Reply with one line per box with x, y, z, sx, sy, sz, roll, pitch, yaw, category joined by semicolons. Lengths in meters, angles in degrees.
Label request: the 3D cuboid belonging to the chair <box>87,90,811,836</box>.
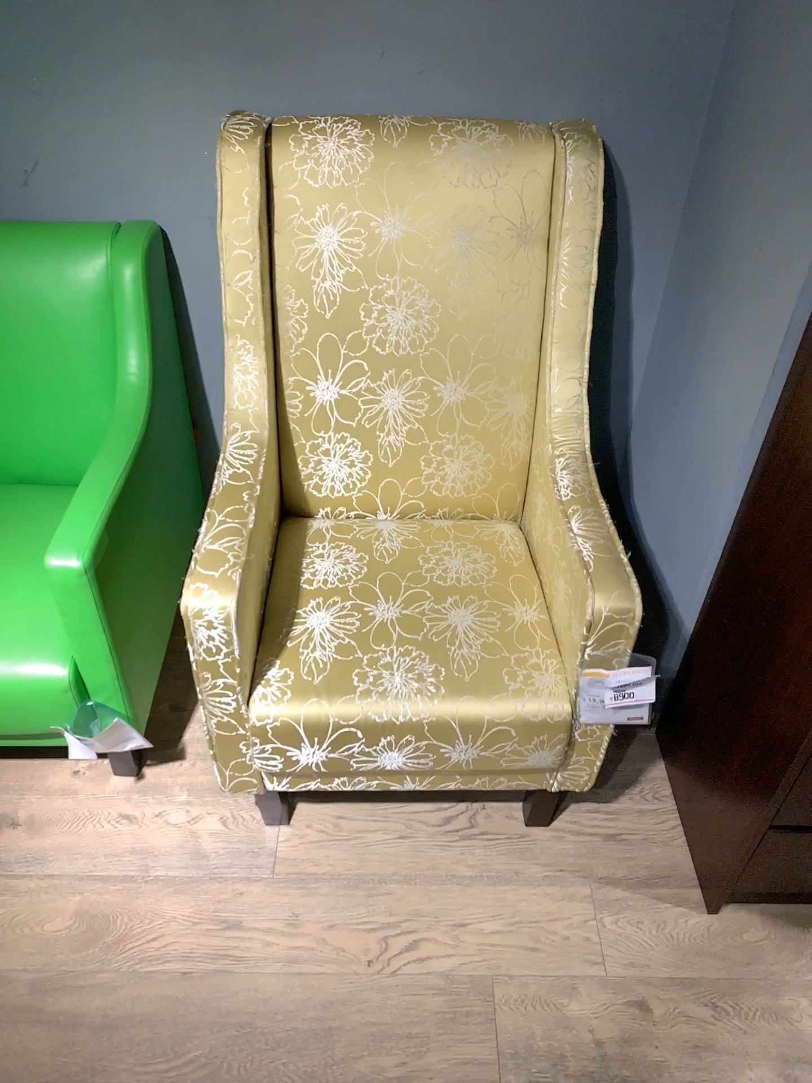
0.034;-0.158;1.561;0.780;1.026;0.954;1;40;-2;chair
